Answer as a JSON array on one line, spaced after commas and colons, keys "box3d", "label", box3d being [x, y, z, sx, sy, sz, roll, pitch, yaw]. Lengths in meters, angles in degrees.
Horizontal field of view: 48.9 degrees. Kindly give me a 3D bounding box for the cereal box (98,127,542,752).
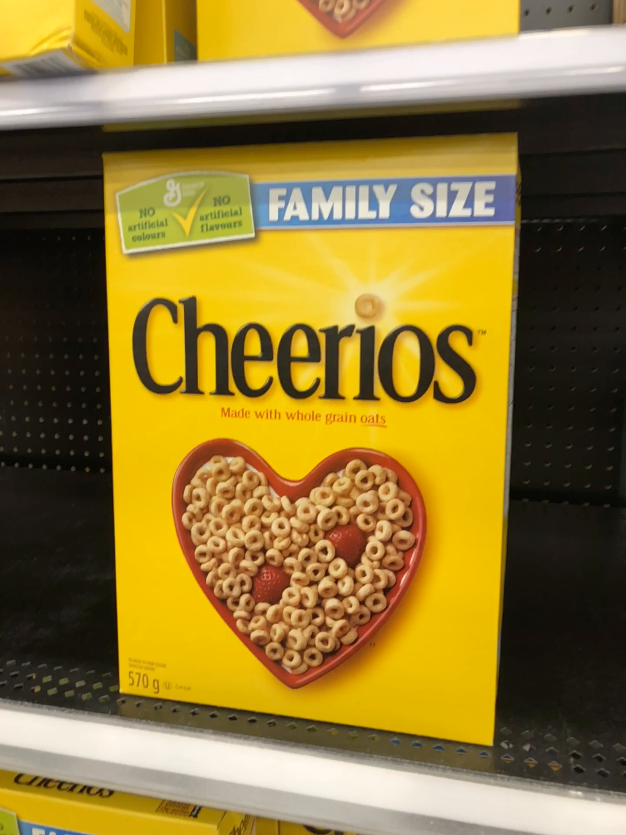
[{"box3d": [0.003, 0.010, 0.435, 0.240, 0.339, 0.090, 3, 9, 12], "label": "cereal box"}]
